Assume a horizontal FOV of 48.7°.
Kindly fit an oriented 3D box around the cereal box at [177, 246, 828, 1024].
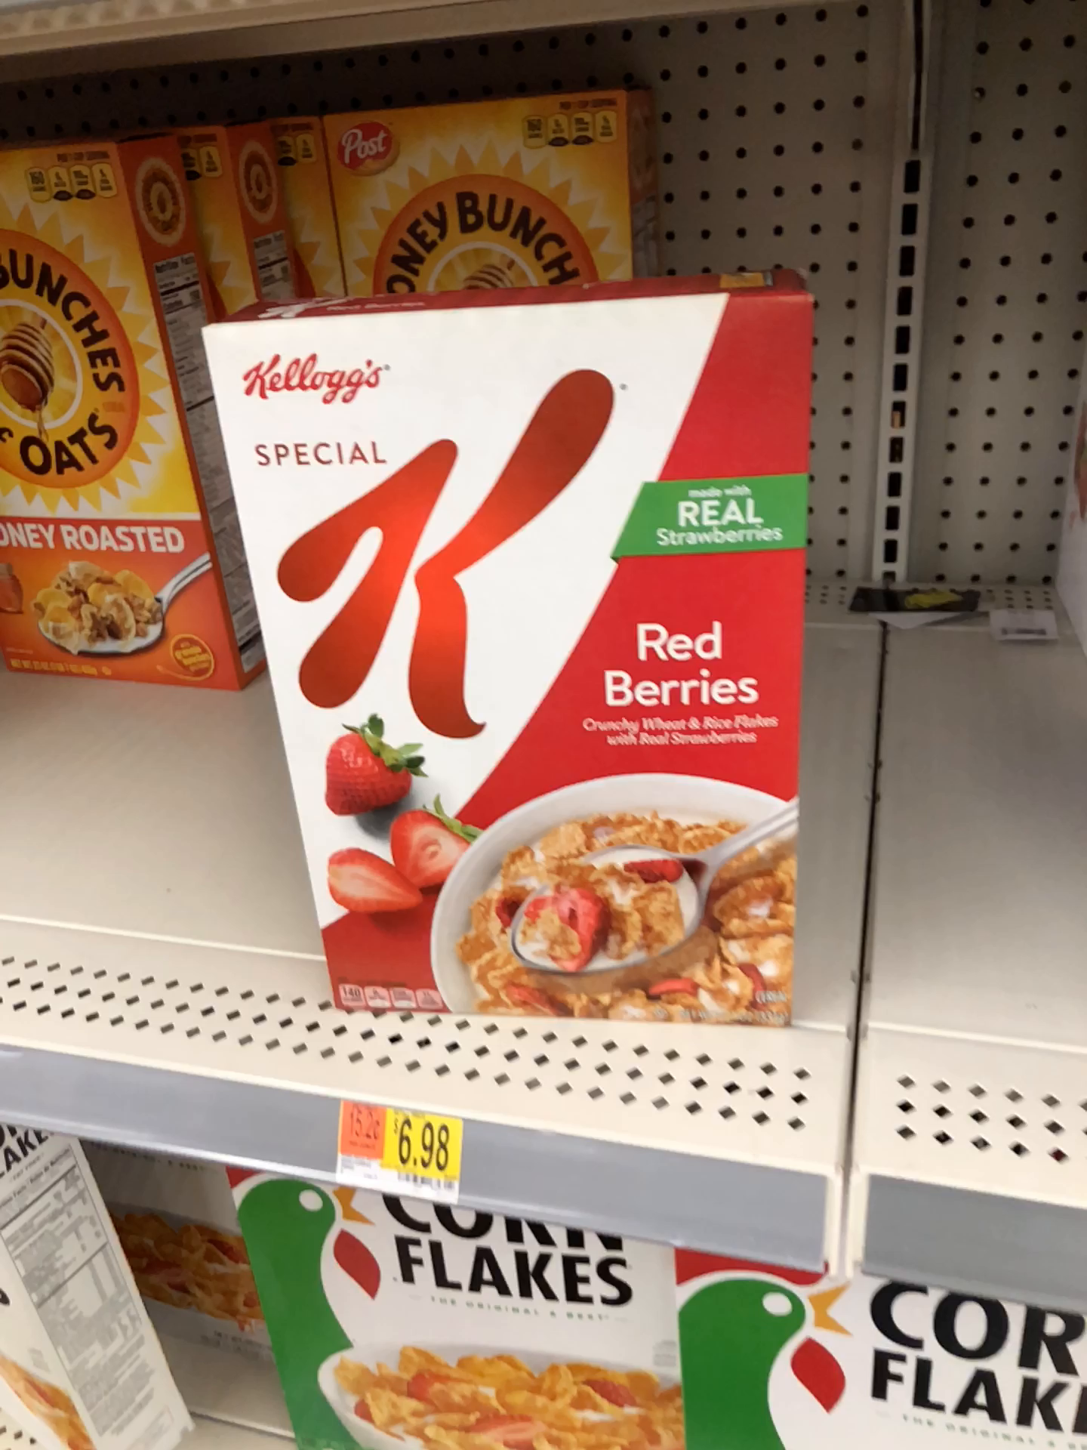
[{"bbox_3d":[0.000,-0.016,0.455,0.200,0.289,0.050,0,30,10],"label":"cereal box"}]
